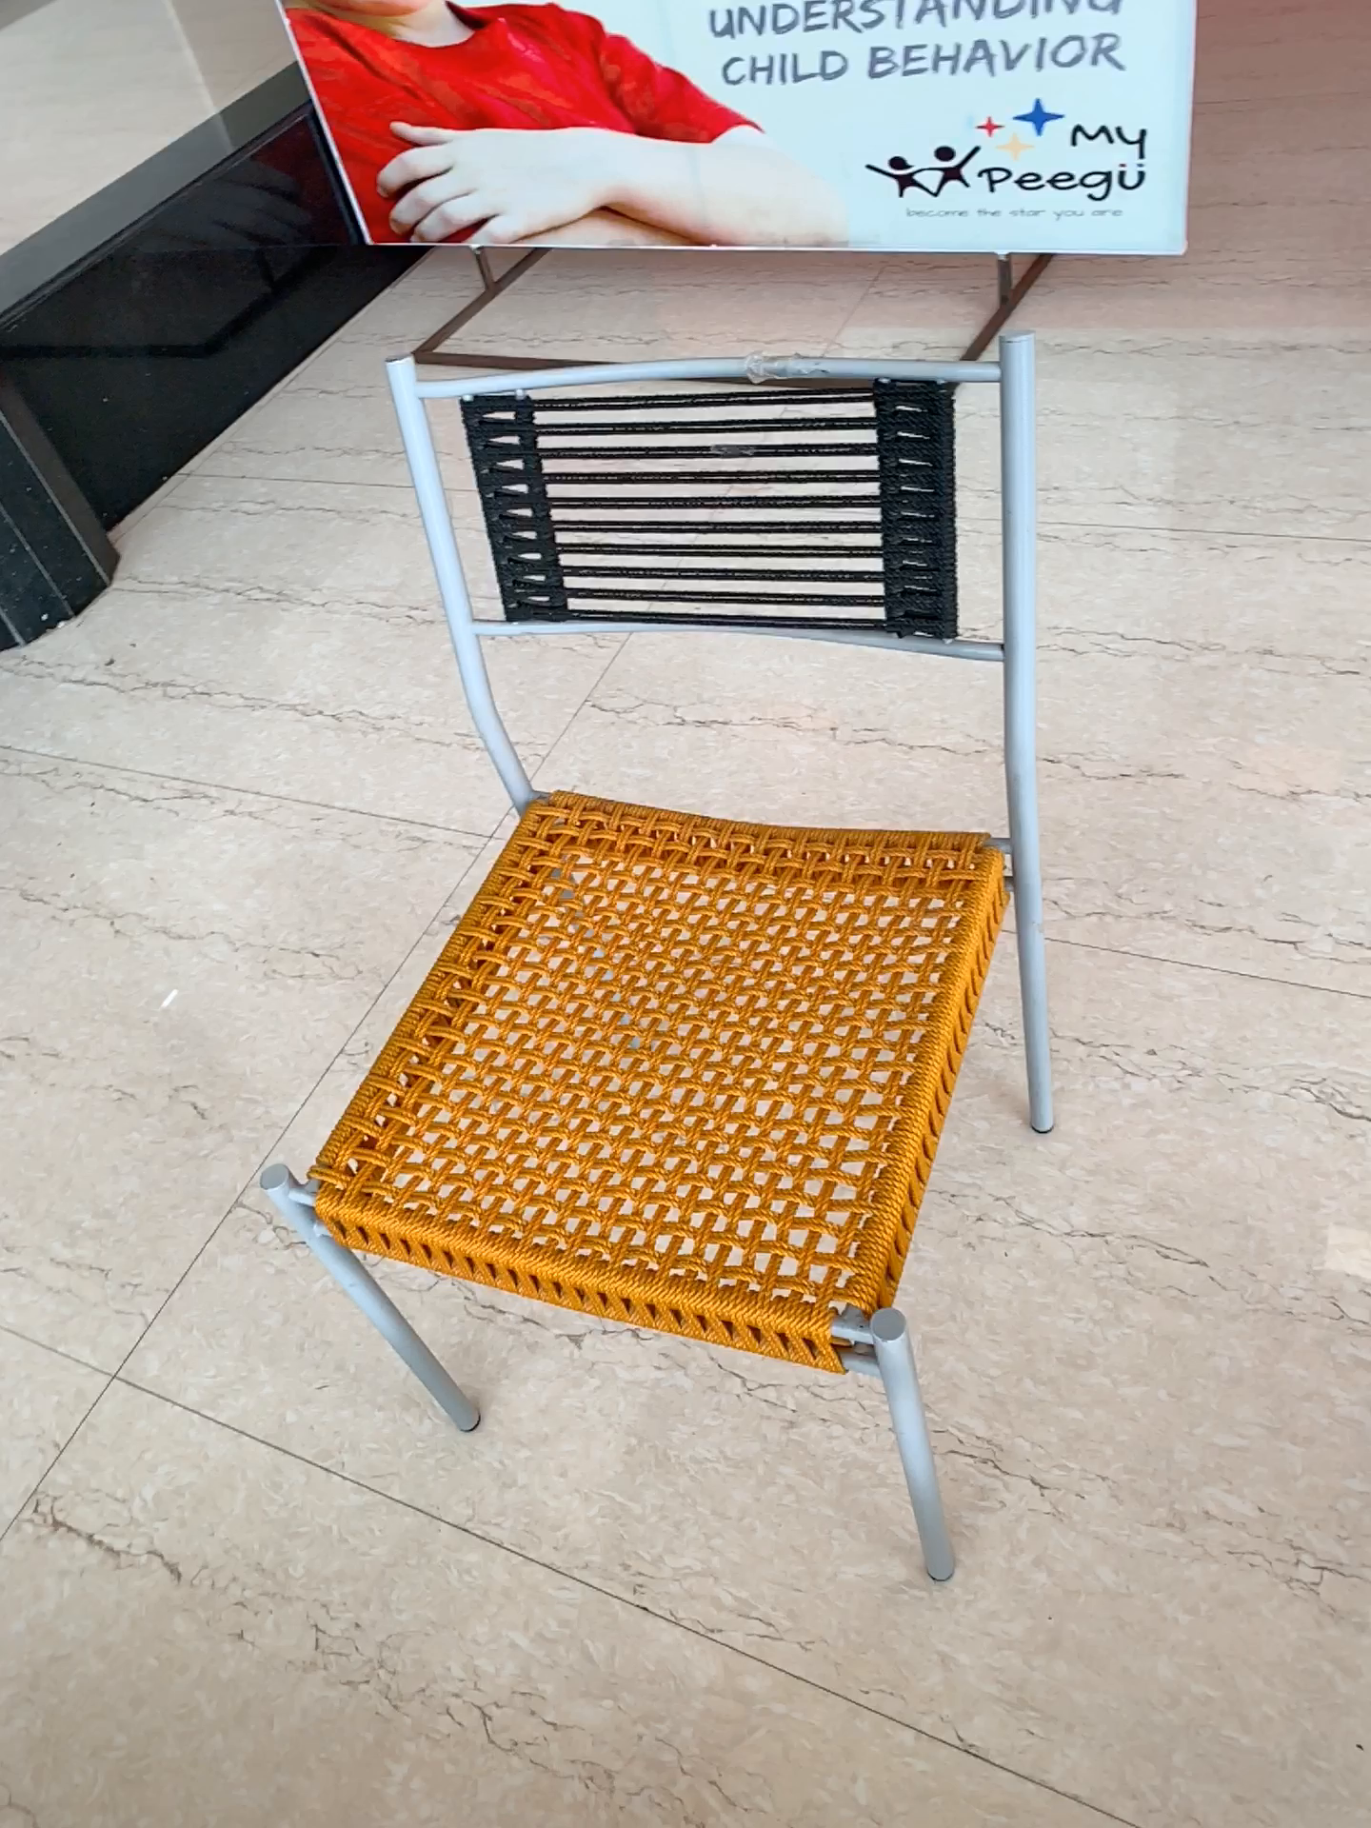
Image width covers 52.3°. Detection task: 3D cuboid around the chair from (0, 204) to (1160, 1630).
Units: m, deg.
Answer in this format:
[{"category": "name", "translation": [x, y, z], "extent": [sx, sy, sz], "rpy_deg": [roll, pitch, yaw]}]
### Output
[{"category": "chair", "translation": [0.016, 0.035, 0.999], "extent": [0.521, 0.804, 0.513], "rpy_deg": [8, 50, 24]}]
